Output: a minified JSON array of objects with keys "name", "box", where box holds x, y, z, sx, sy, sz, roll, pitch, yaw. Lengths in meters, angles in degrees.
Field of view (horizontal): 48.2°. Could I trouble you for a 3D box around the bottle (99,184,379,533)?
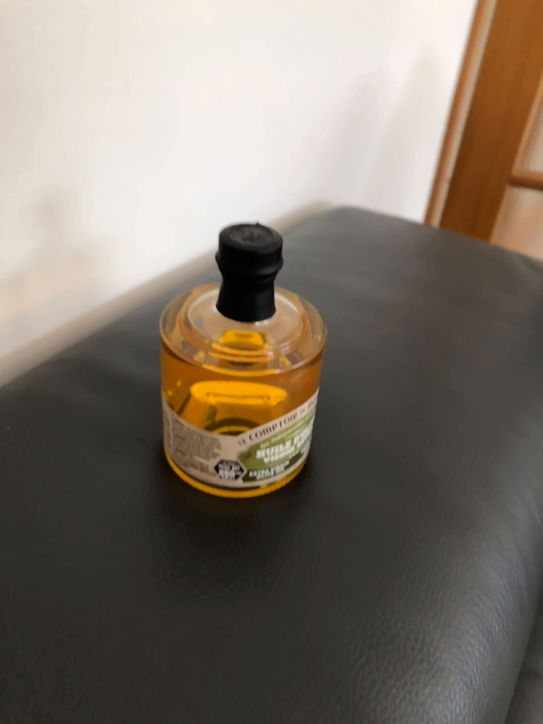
[{"name":"bottle","box":[-0.020,-0.006,0.311,0.090,0.129,0.091,4,34,-3]}]
